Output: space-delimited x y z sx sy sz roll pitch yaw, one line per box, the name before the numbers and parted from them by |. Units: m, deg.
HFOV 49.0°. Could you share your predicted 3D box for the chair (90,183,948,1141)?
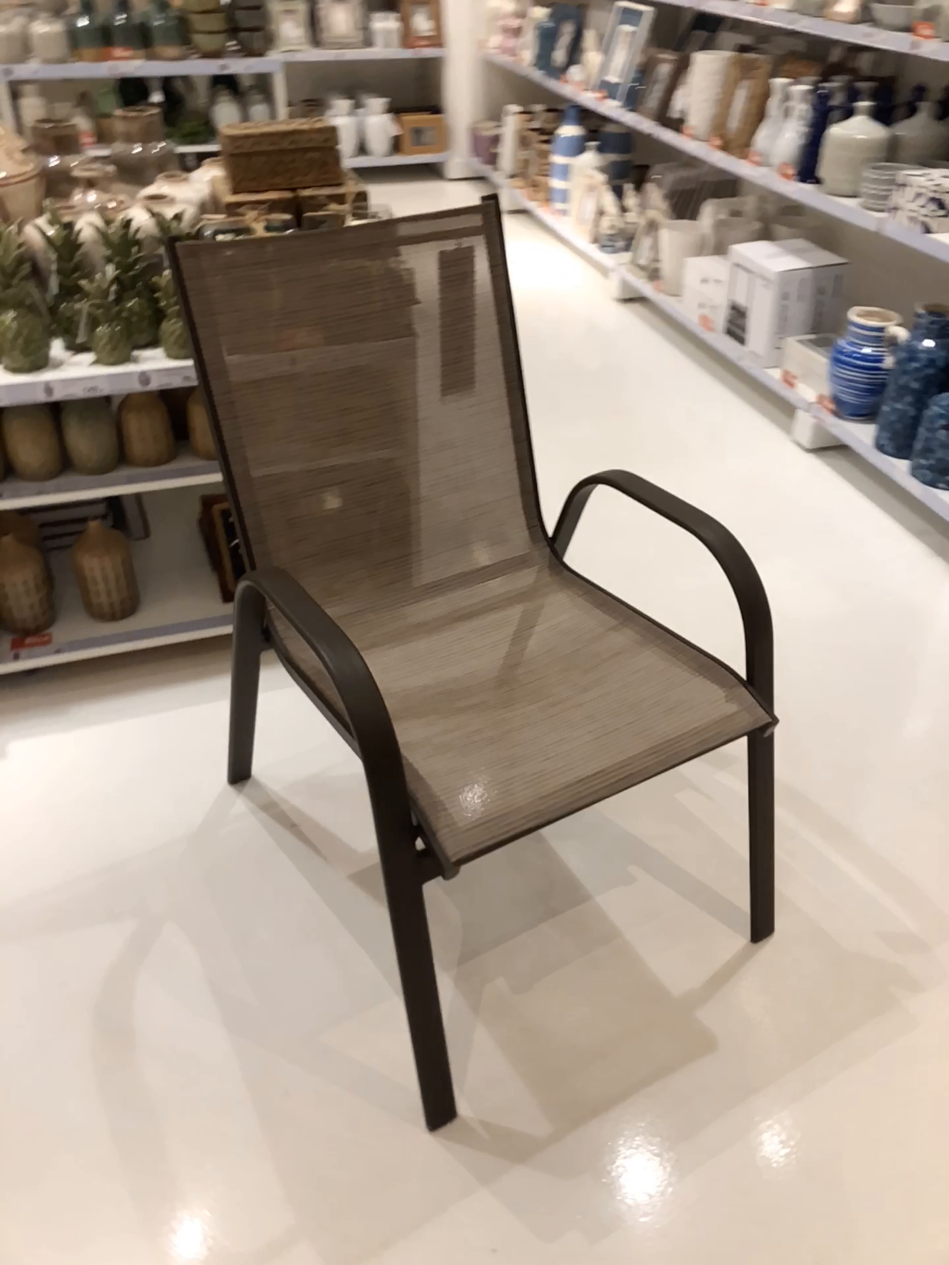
chair | 0.000 -0.033 1.289 0.602 0.793 0.704 -19 39 -26
